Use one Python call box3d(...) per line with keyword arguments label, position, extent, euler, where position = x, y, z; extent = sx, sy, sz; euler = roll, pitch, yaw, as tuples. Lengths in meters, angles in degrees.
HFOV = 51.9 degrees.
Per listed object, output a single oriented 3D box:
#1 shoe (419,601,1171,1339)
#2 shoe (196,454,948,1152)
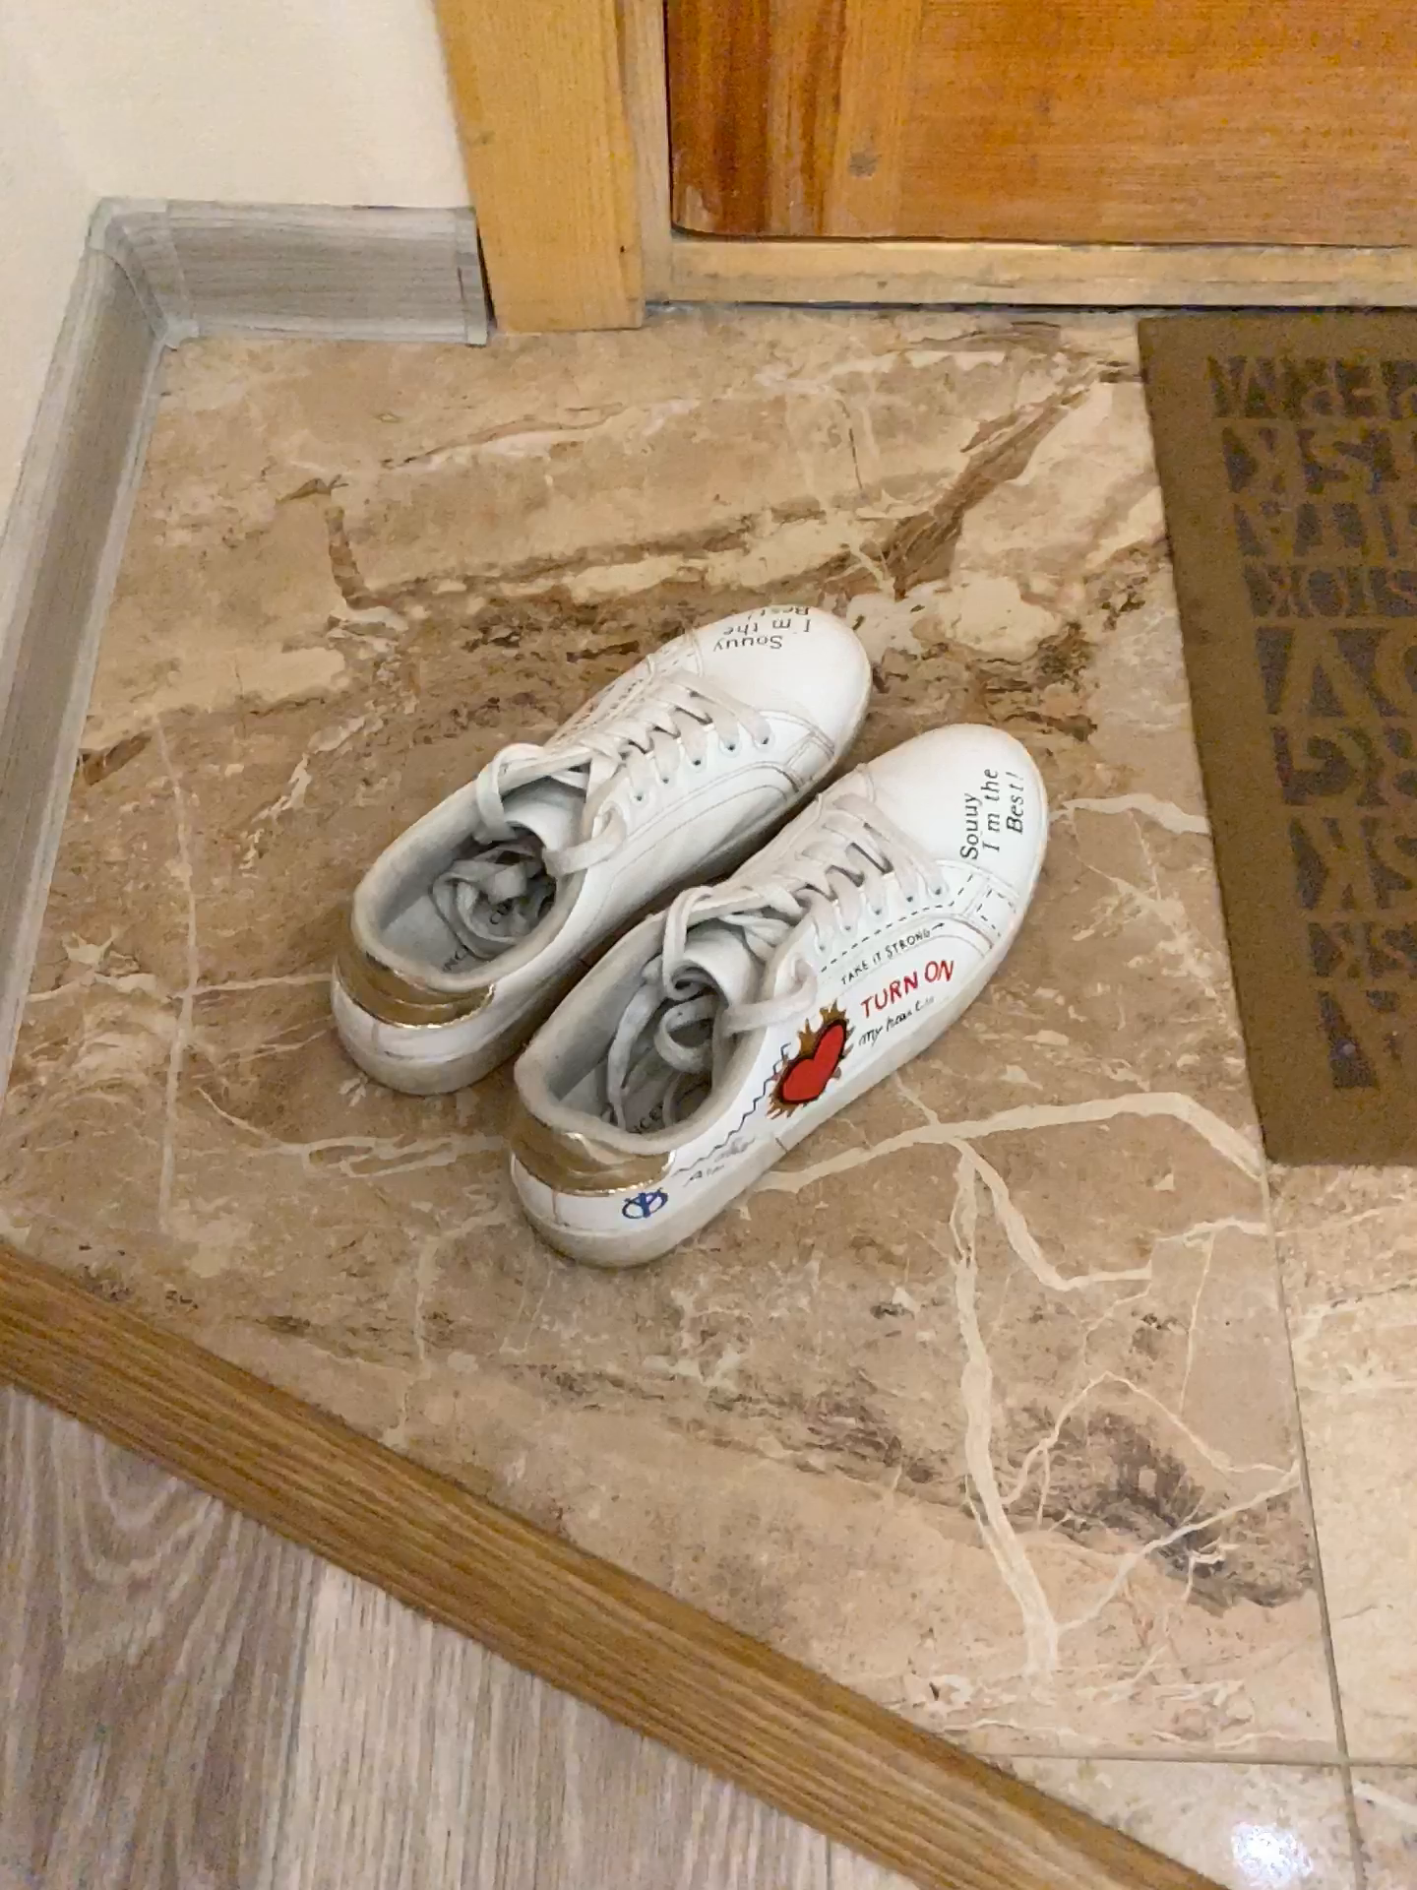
box3d(label="shoe", position=(0.034, 0.005, 0.508), extent=(0.256, 0.080, 0.092), euler=(-42, 72, -17))
box3d(label="shoe", position=(-0.040, -0.055, 0.527), extent=(0.256, 0.080, 0.092), euler=(-41, 71, -16))
